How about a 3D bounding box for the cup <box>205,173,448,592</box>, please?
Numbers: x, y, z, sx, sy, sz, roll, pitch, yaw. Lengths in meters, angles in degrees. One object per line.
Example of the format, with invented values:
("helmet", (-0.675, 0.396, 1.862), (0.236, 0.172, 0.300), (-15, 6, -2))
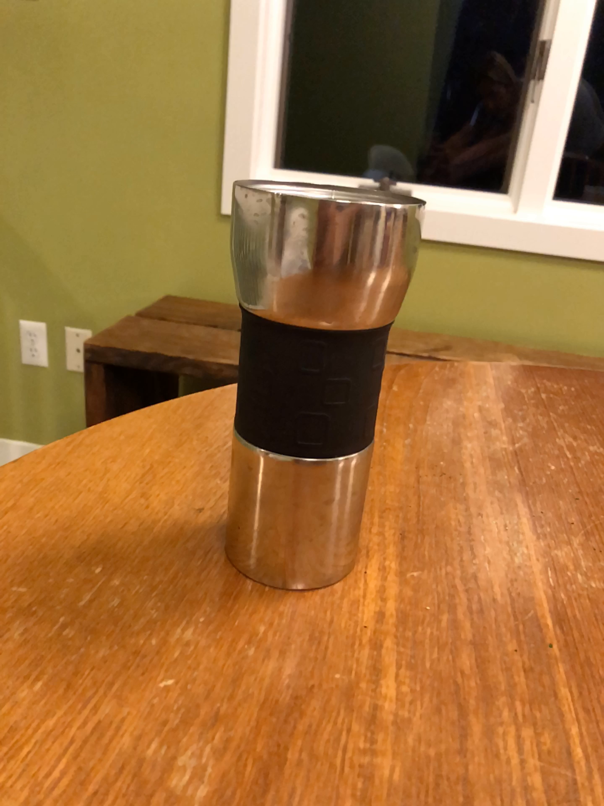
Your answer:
("cup", (0.003, -0.011, 0.317), (0.083, 0.173, 0.088), (5, 21, -2))
